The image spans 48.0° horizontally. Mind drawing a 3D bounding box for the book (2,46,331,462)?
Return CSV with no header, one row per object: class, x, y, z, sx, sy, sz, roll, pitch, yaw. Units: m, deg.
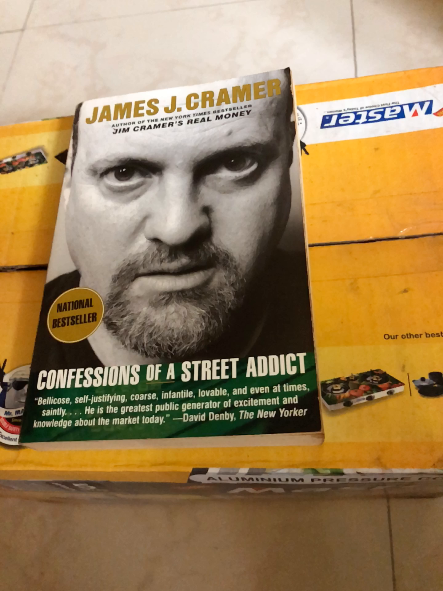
book,-0.024,-0.034,0.269,0.140,0.030,0.230,-5,62,9
